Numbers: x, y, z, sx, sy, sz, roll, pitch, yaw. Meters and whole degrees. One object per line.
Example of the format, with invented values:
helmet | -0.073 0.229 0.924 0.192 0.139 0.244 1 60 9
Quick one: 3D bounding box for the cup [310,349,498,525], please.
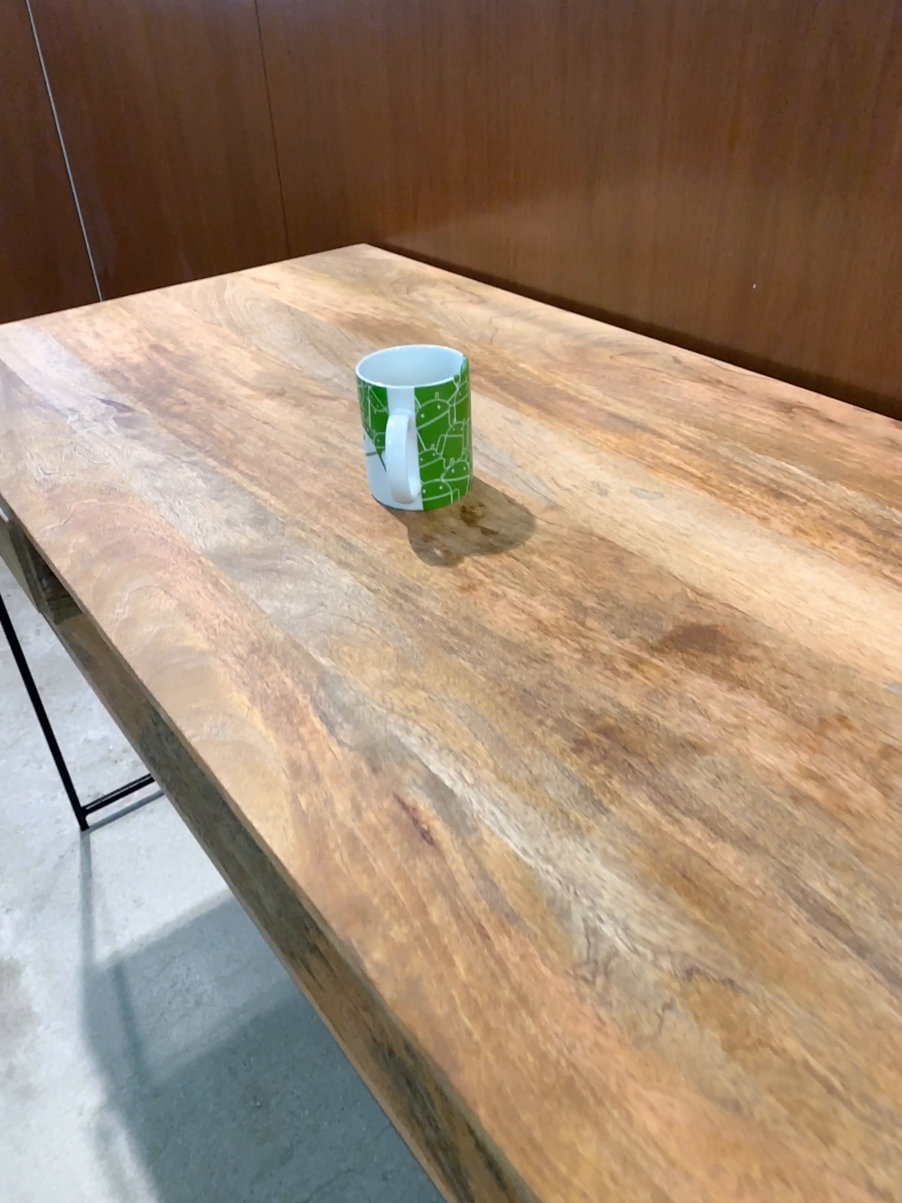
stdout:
cup | -0.026 -0.116 0.634 0.100 0.070 0.121 4 35 10
